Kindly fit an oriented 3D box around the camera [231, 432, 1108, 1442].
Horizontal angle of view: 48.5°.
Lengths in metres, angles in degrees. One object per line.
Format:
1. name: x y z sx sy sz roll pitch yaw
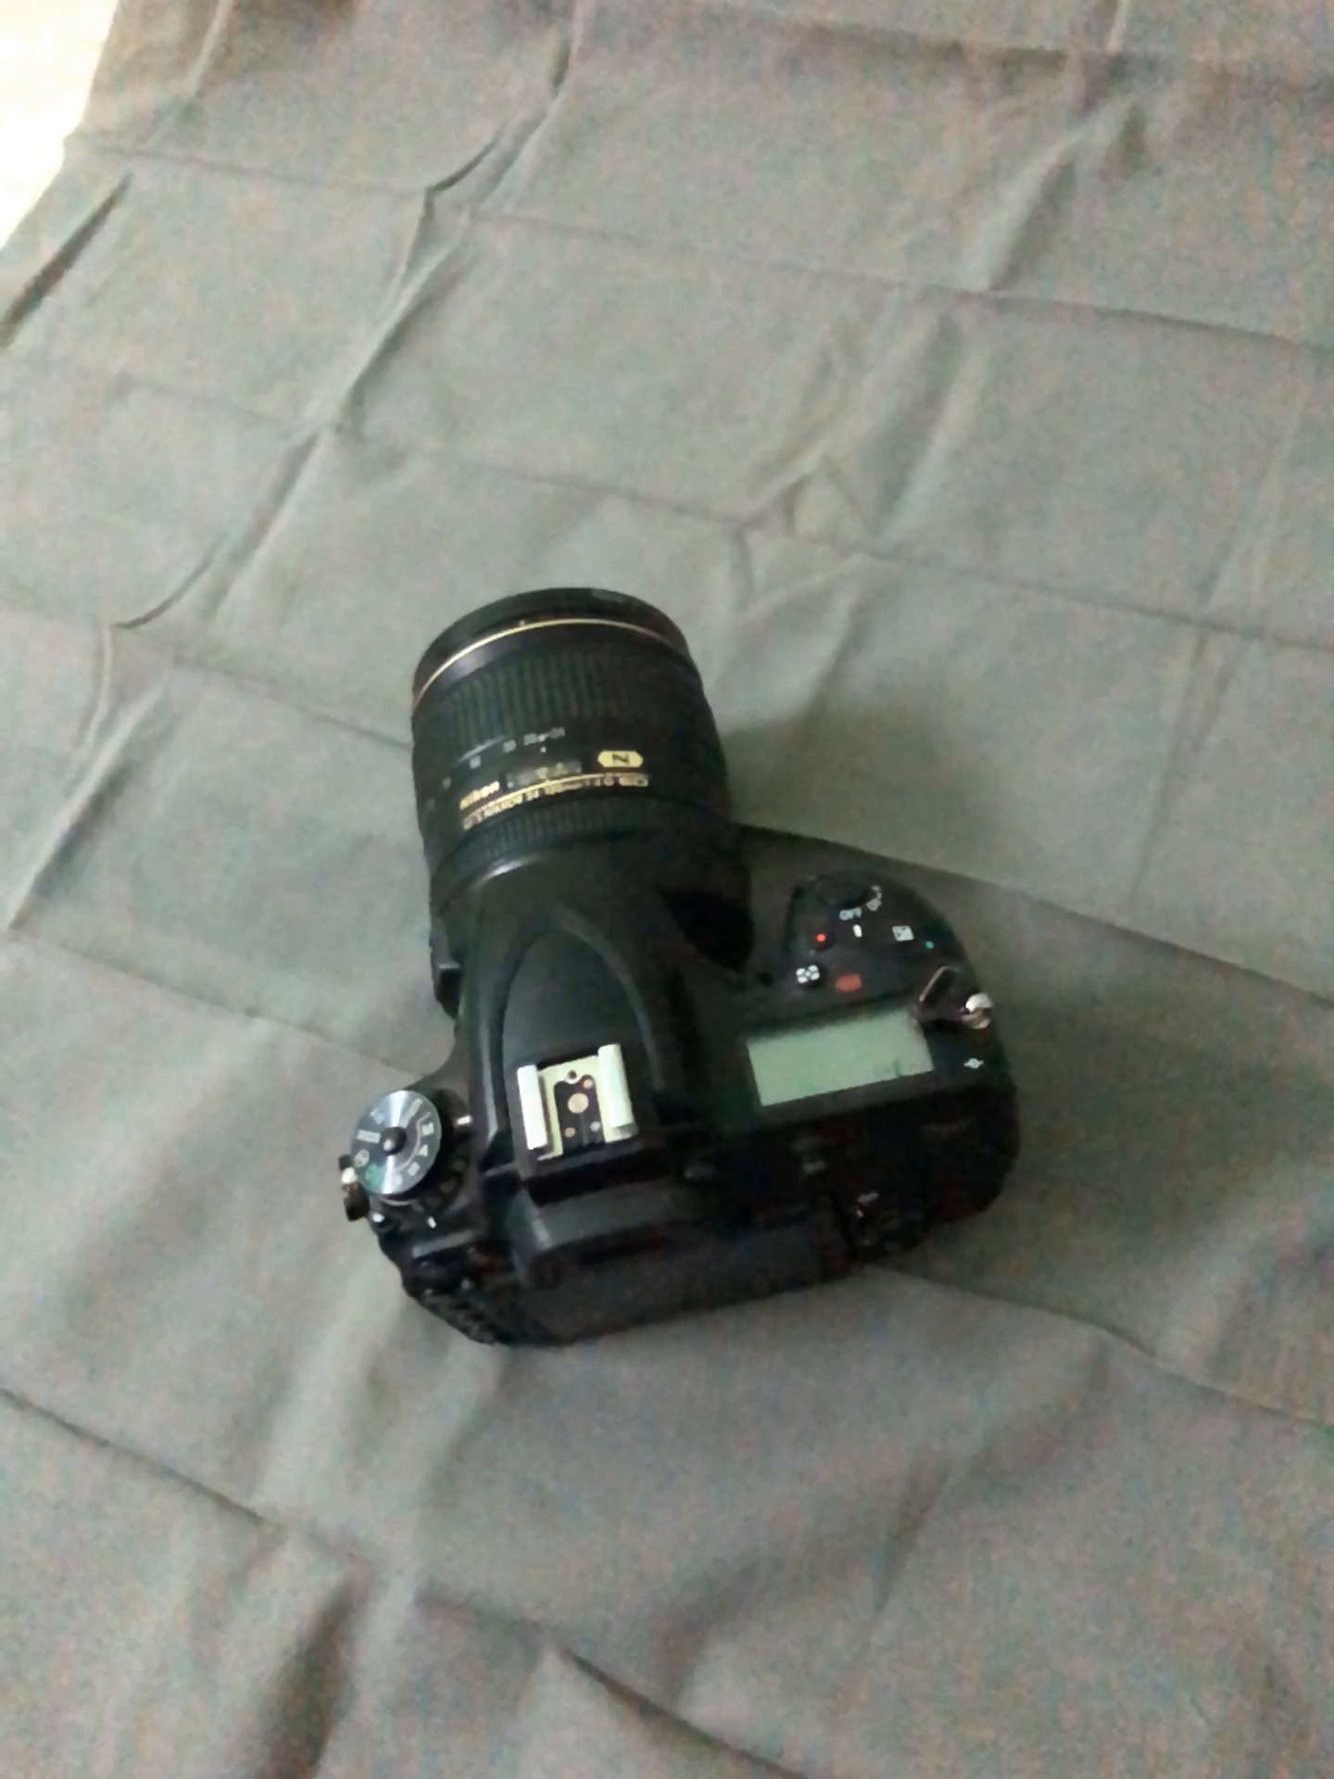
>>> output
1. camera: -0.002 0.019 0.341 0.146 0.134 0.164 -12 61 4
